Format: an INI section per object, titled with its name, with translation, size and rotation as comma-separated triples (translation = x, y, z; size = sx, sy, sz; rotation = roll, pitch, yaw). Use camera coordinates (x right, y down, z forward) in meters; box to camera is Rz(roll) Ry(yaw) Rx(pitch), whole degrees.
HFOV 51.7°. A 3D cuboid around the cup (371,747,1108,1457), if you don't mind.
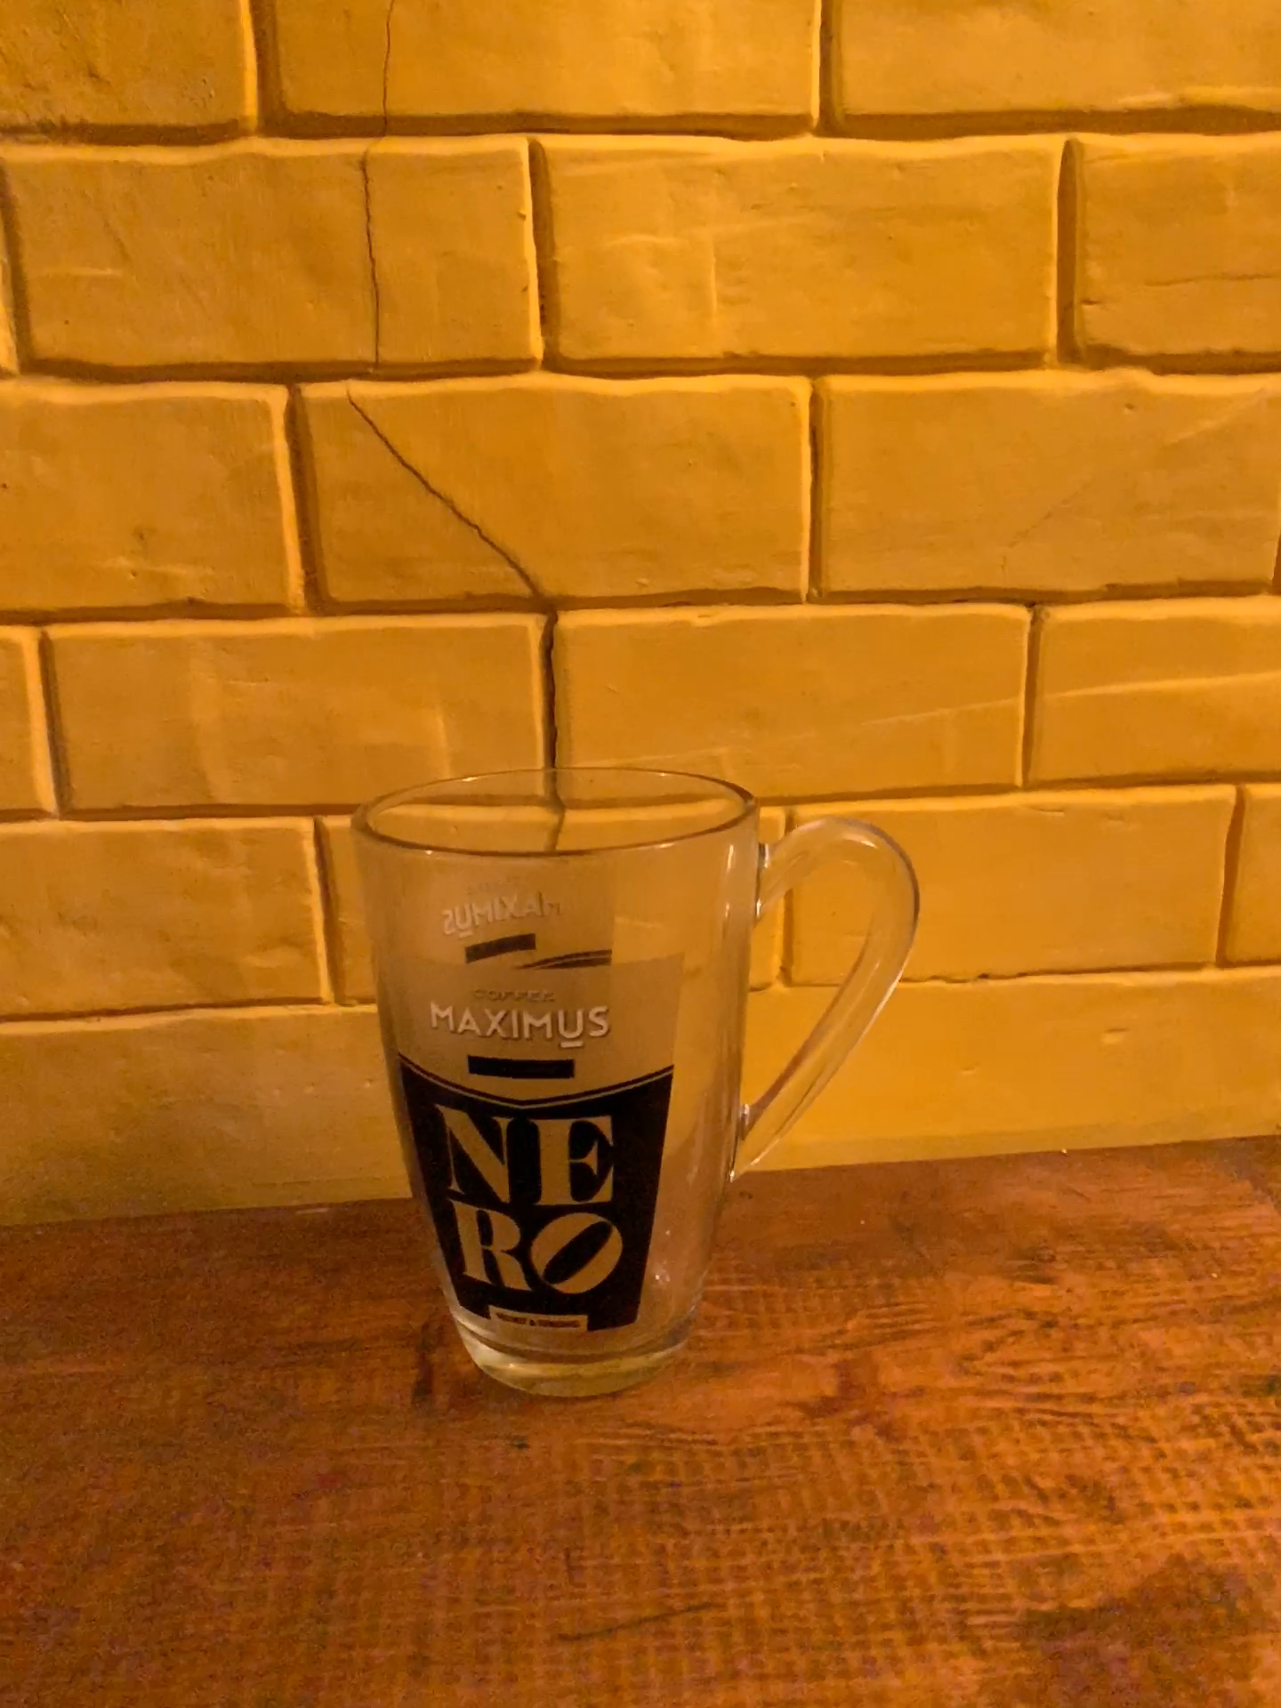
[cup]
translation = 0.011, 0.040, 0.274
size = 0.124, 0.099, 0.094
rotation = -4, 18, -11
